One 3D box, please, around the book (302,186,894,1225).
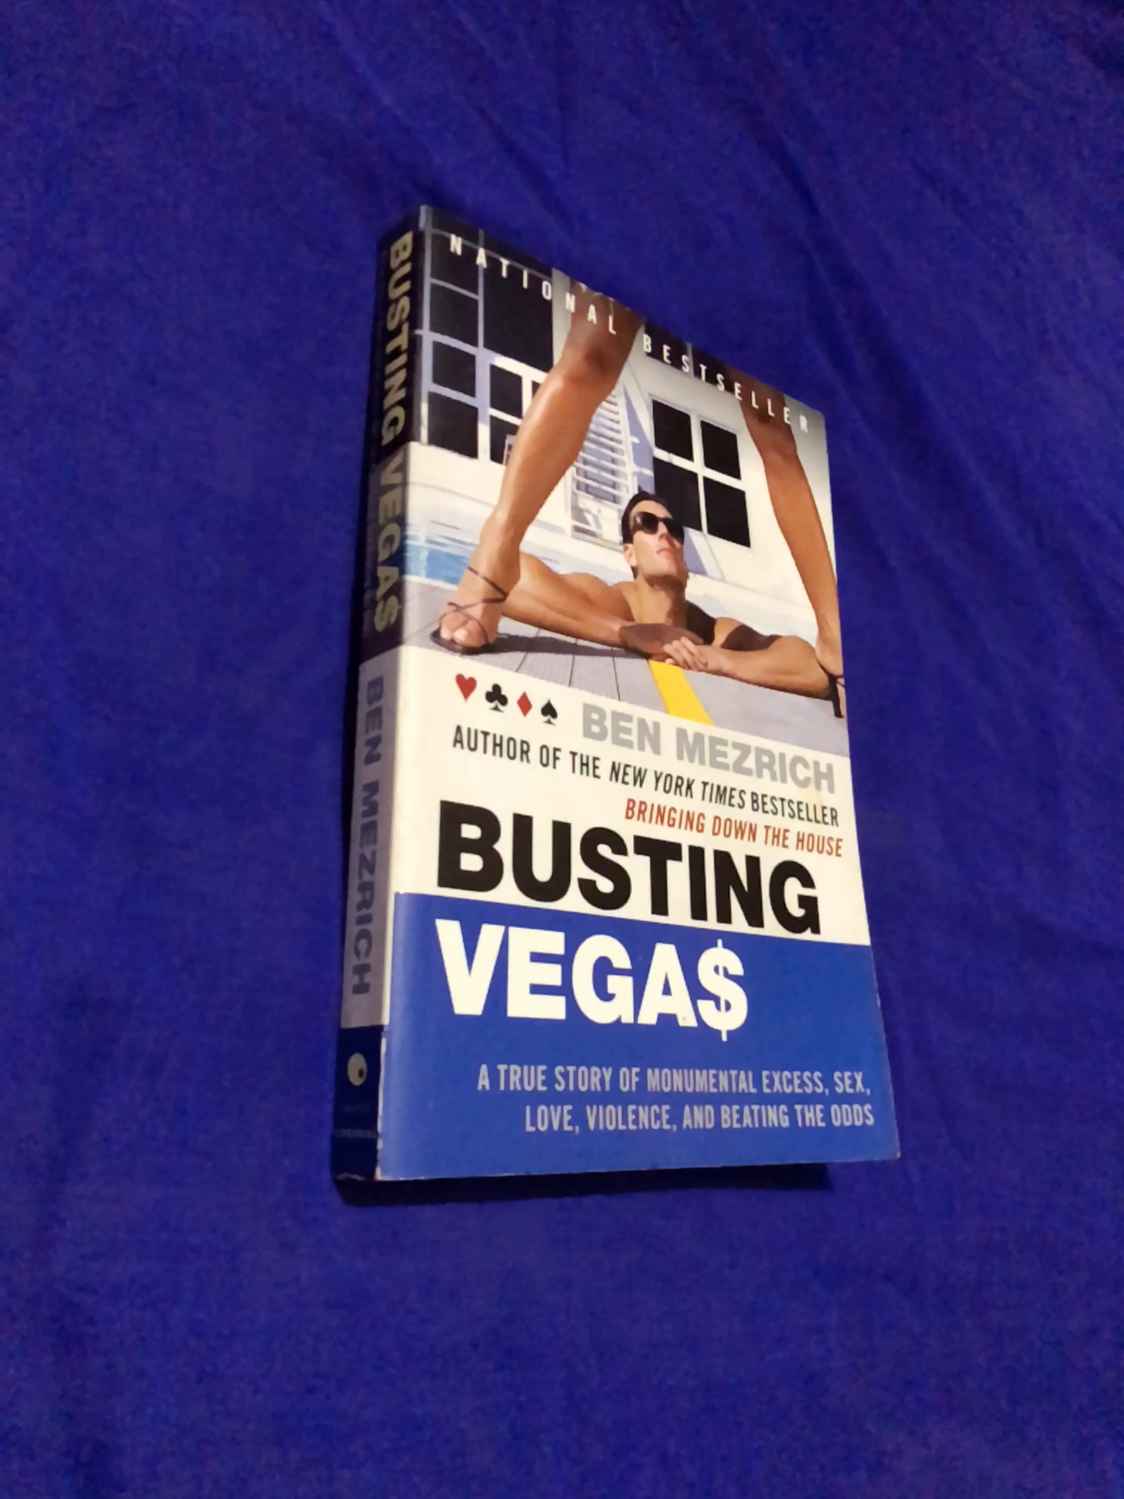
[{"bbox_3d":[0.012,-0.005,0.295,0.131,0.040,0.210,13,68,-38],"label":"book"}]
